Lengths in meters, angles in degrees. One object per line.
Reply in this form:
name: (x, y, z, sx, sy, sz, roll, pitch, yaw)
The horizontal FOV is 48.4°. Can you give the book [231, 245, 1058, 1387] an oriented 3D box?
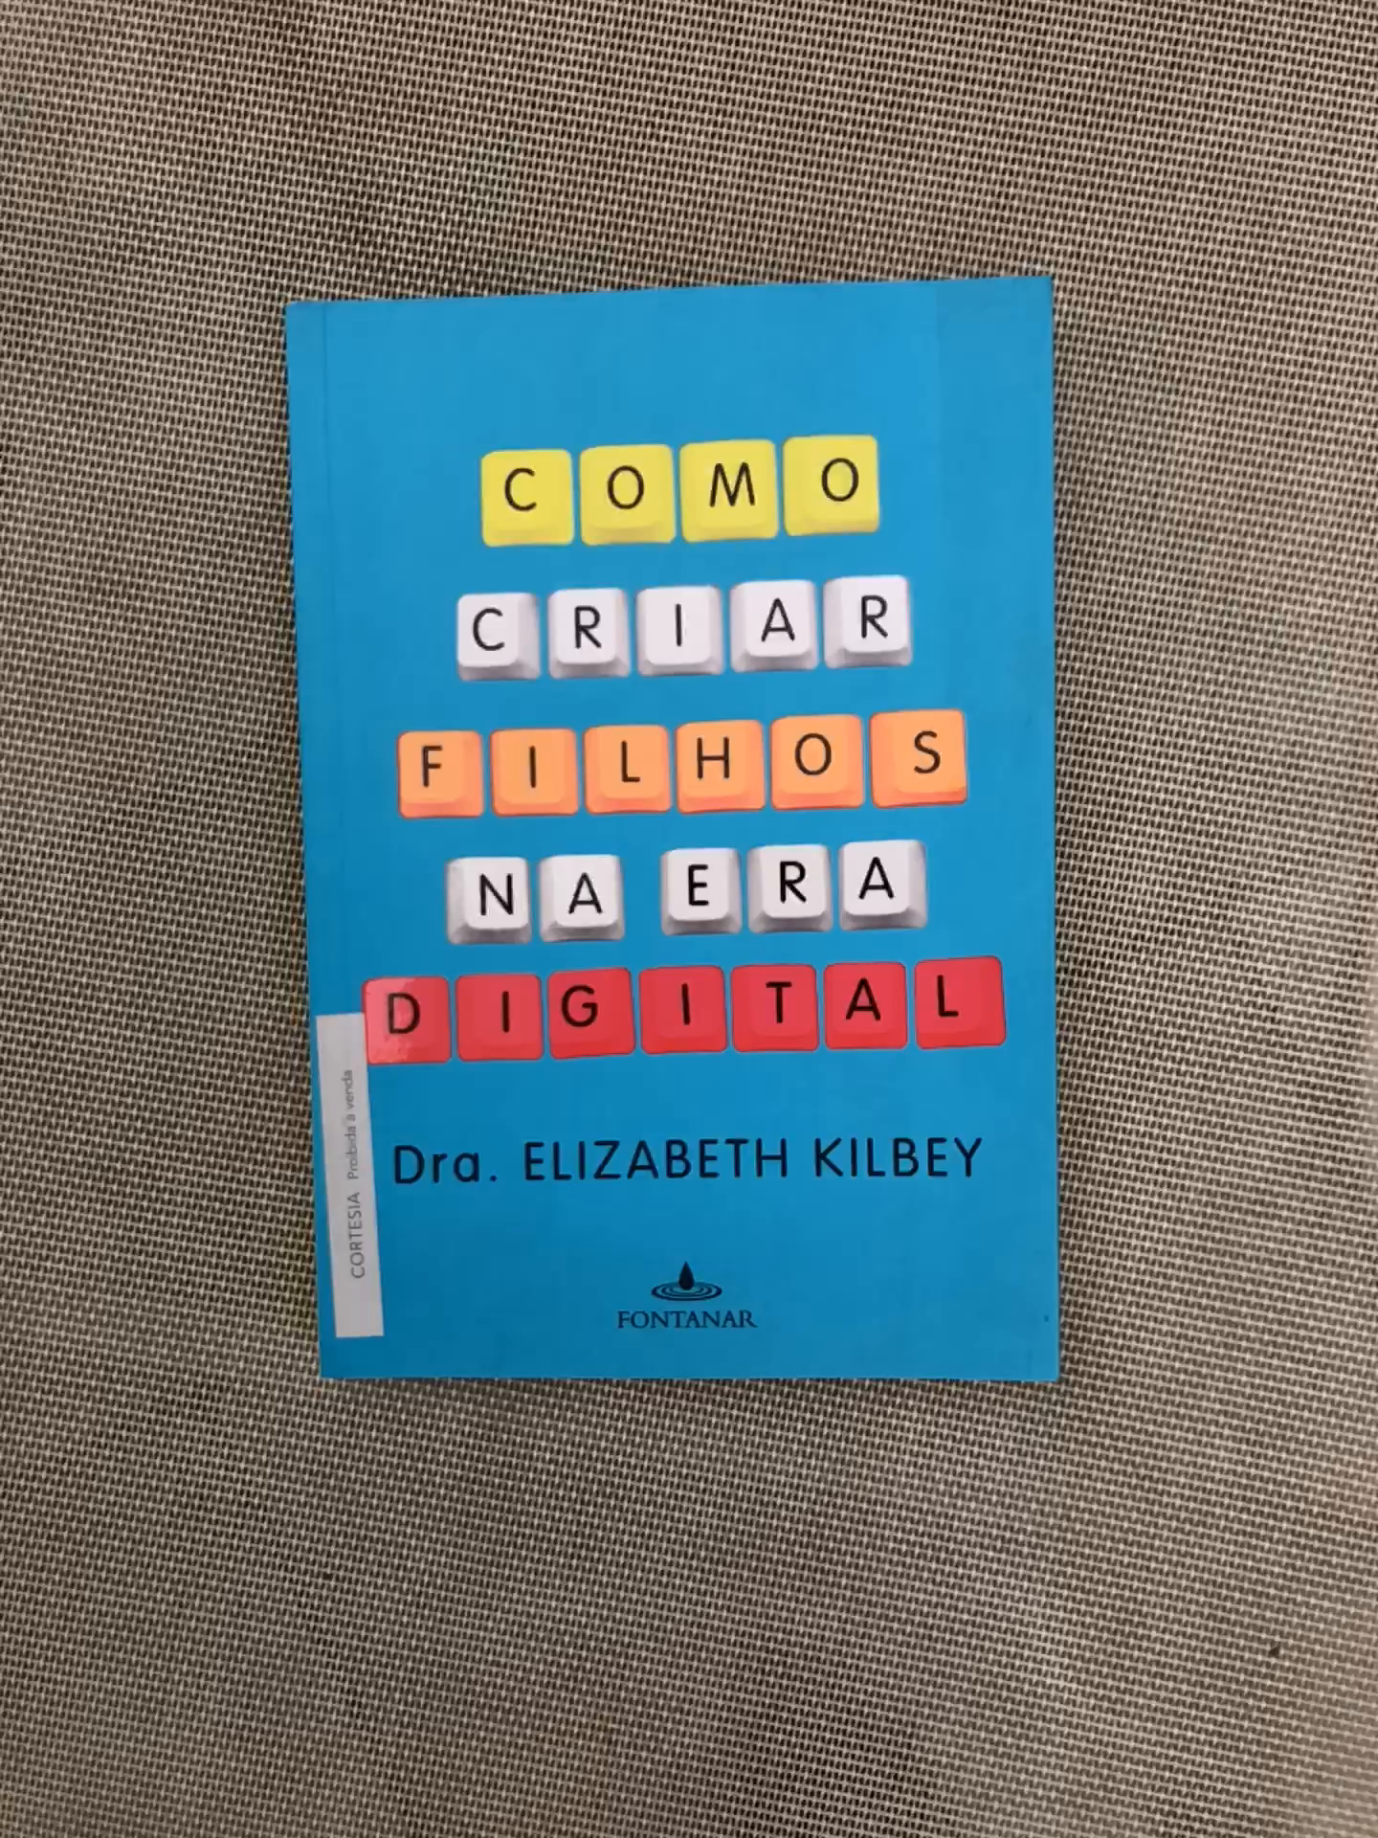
book: (-0.008, -0.019, 0.324, 0.163, 0.020, 0.228, -2, 92, 2)
